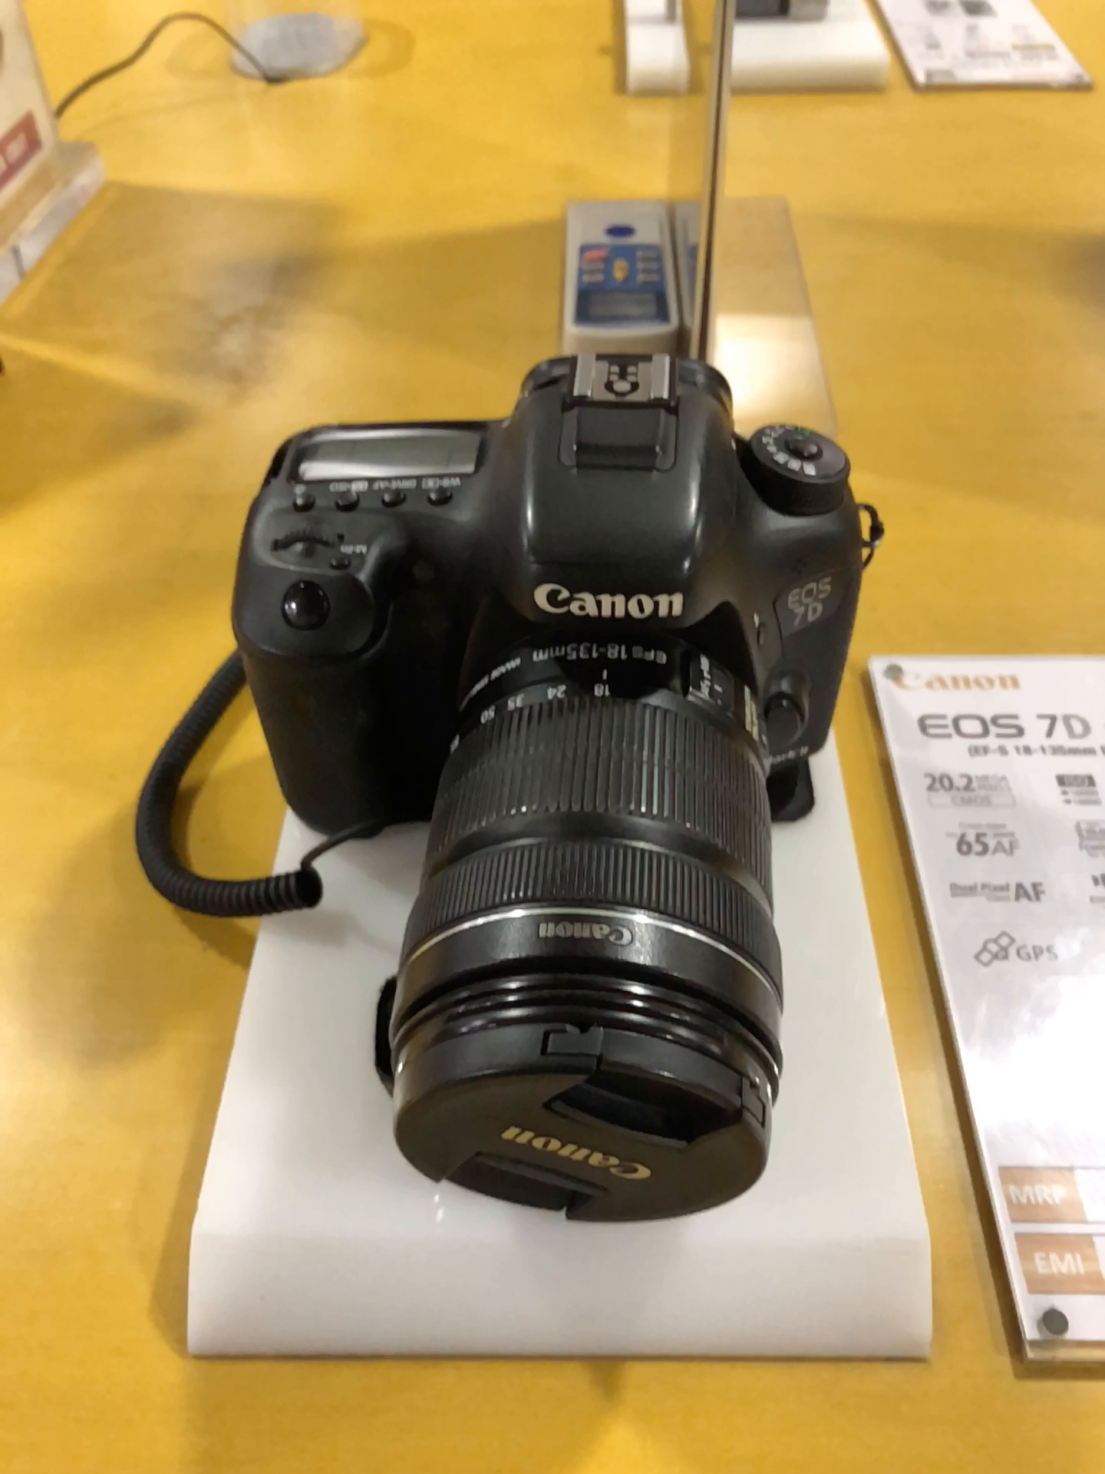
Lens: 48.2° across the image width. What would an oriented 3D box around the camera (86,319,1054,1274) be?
[{"bbox_3d":[0.005,0.004,0.264,0.130,0.109,0.171,1,47,2],"label":"camera"}]
